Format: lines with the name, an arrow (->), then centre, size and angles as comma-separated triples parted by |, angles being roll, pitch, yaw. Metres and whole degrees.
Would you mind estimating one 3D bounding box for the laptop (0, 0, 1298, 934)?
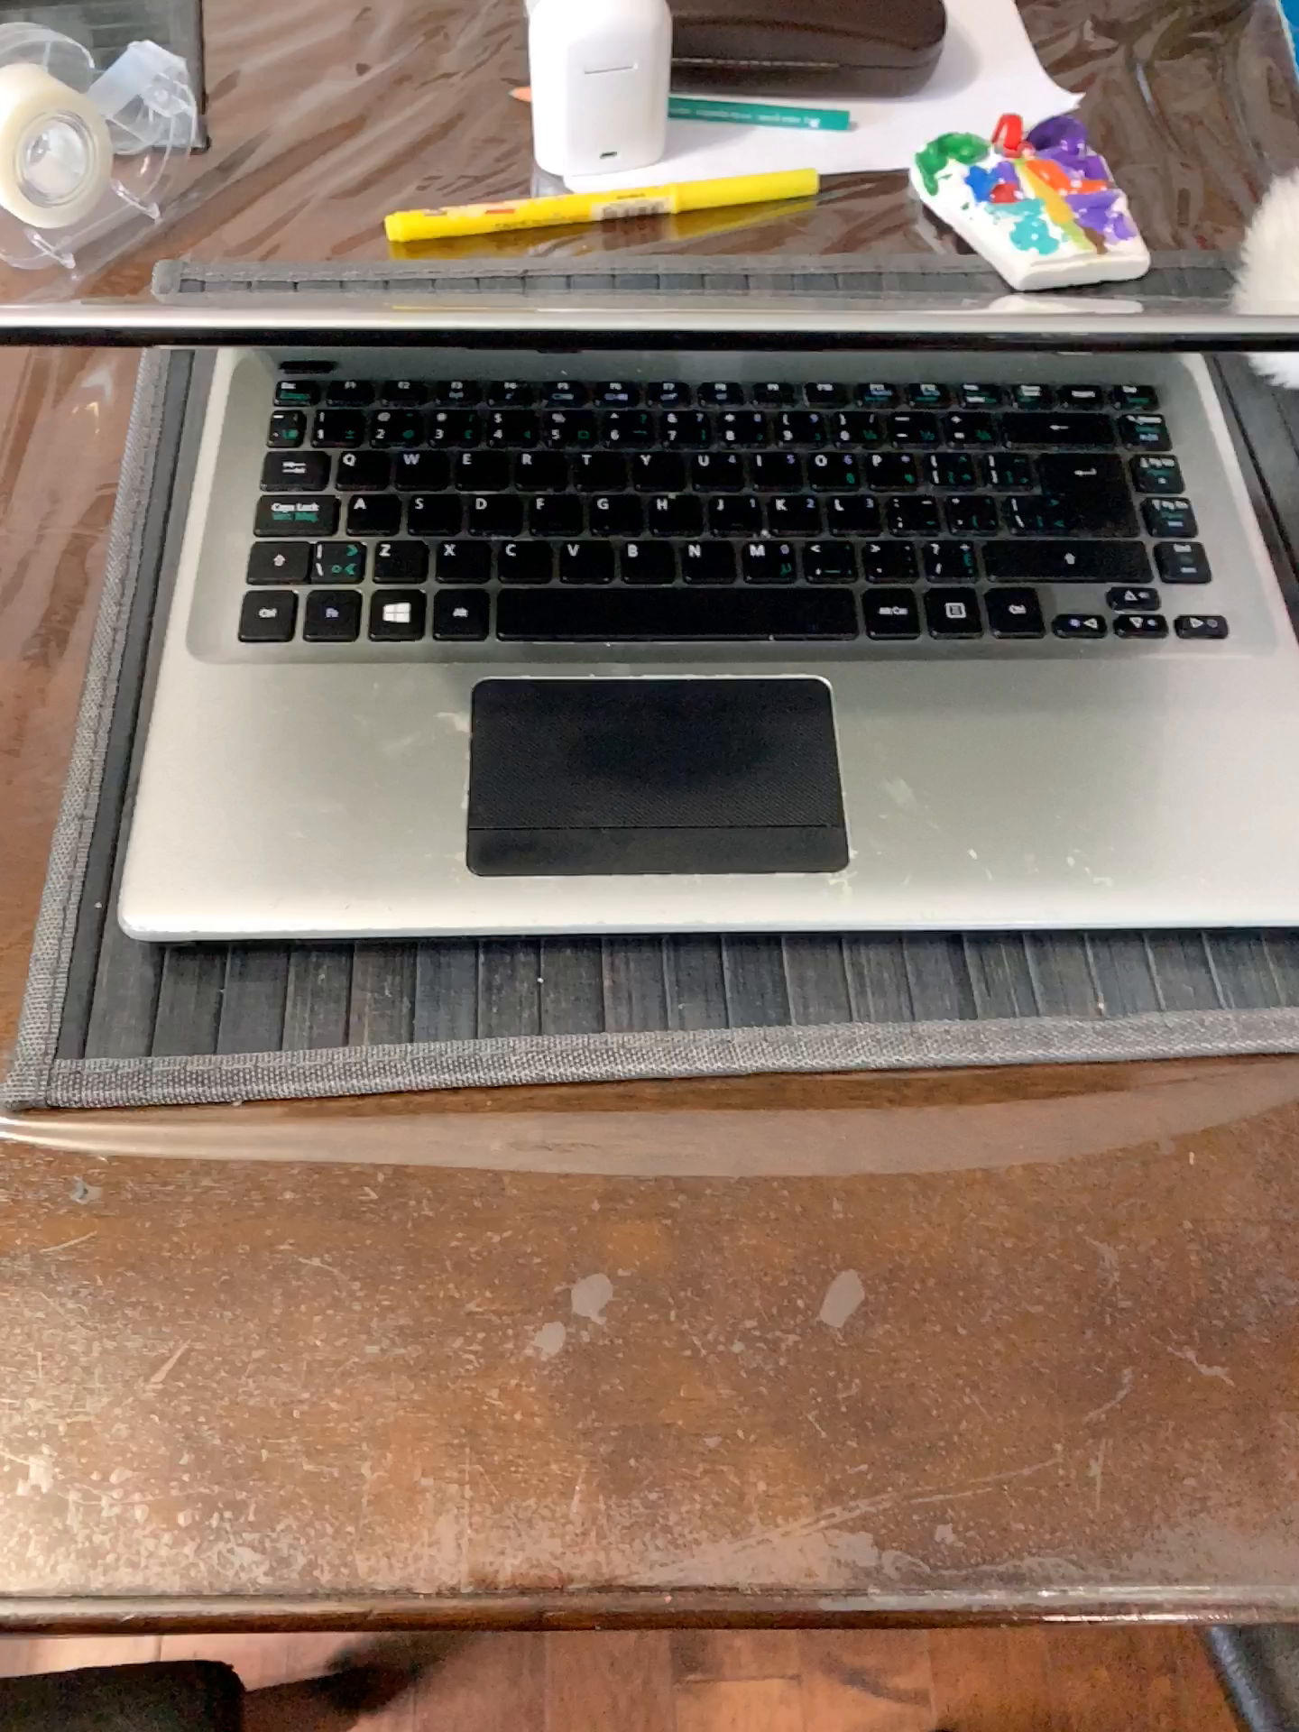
laptop -> 0.030, -0.119, 0.355 | 0.343, 0.141, 0.225 | -1, 62, -3
